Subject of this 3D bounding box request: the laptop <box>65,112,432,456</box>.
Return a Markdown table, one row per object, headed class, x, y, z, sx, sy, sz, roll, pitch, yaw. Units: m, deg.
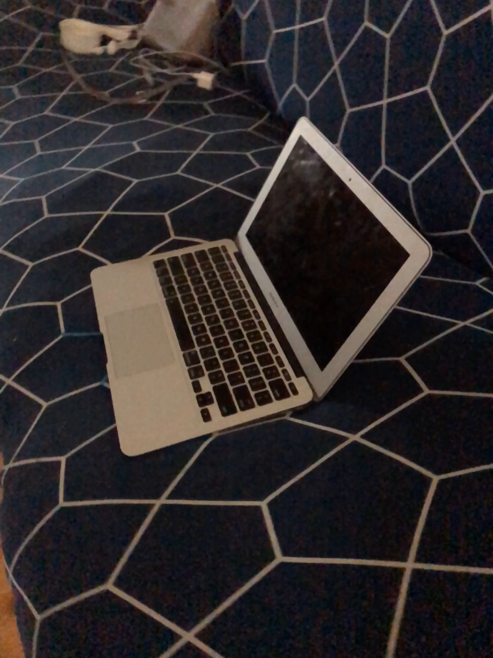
| class | x | y | z | sx | sy | sz | roll | pitch | yaw |
| --- | --- | --- | --- | --- | --- | --- | --- | --- | --- |
| laptop | -0.022 | -0.069 | 0.565 | 0.279 | 0.156 | 0.283 | -14 | 46 | -11 |
